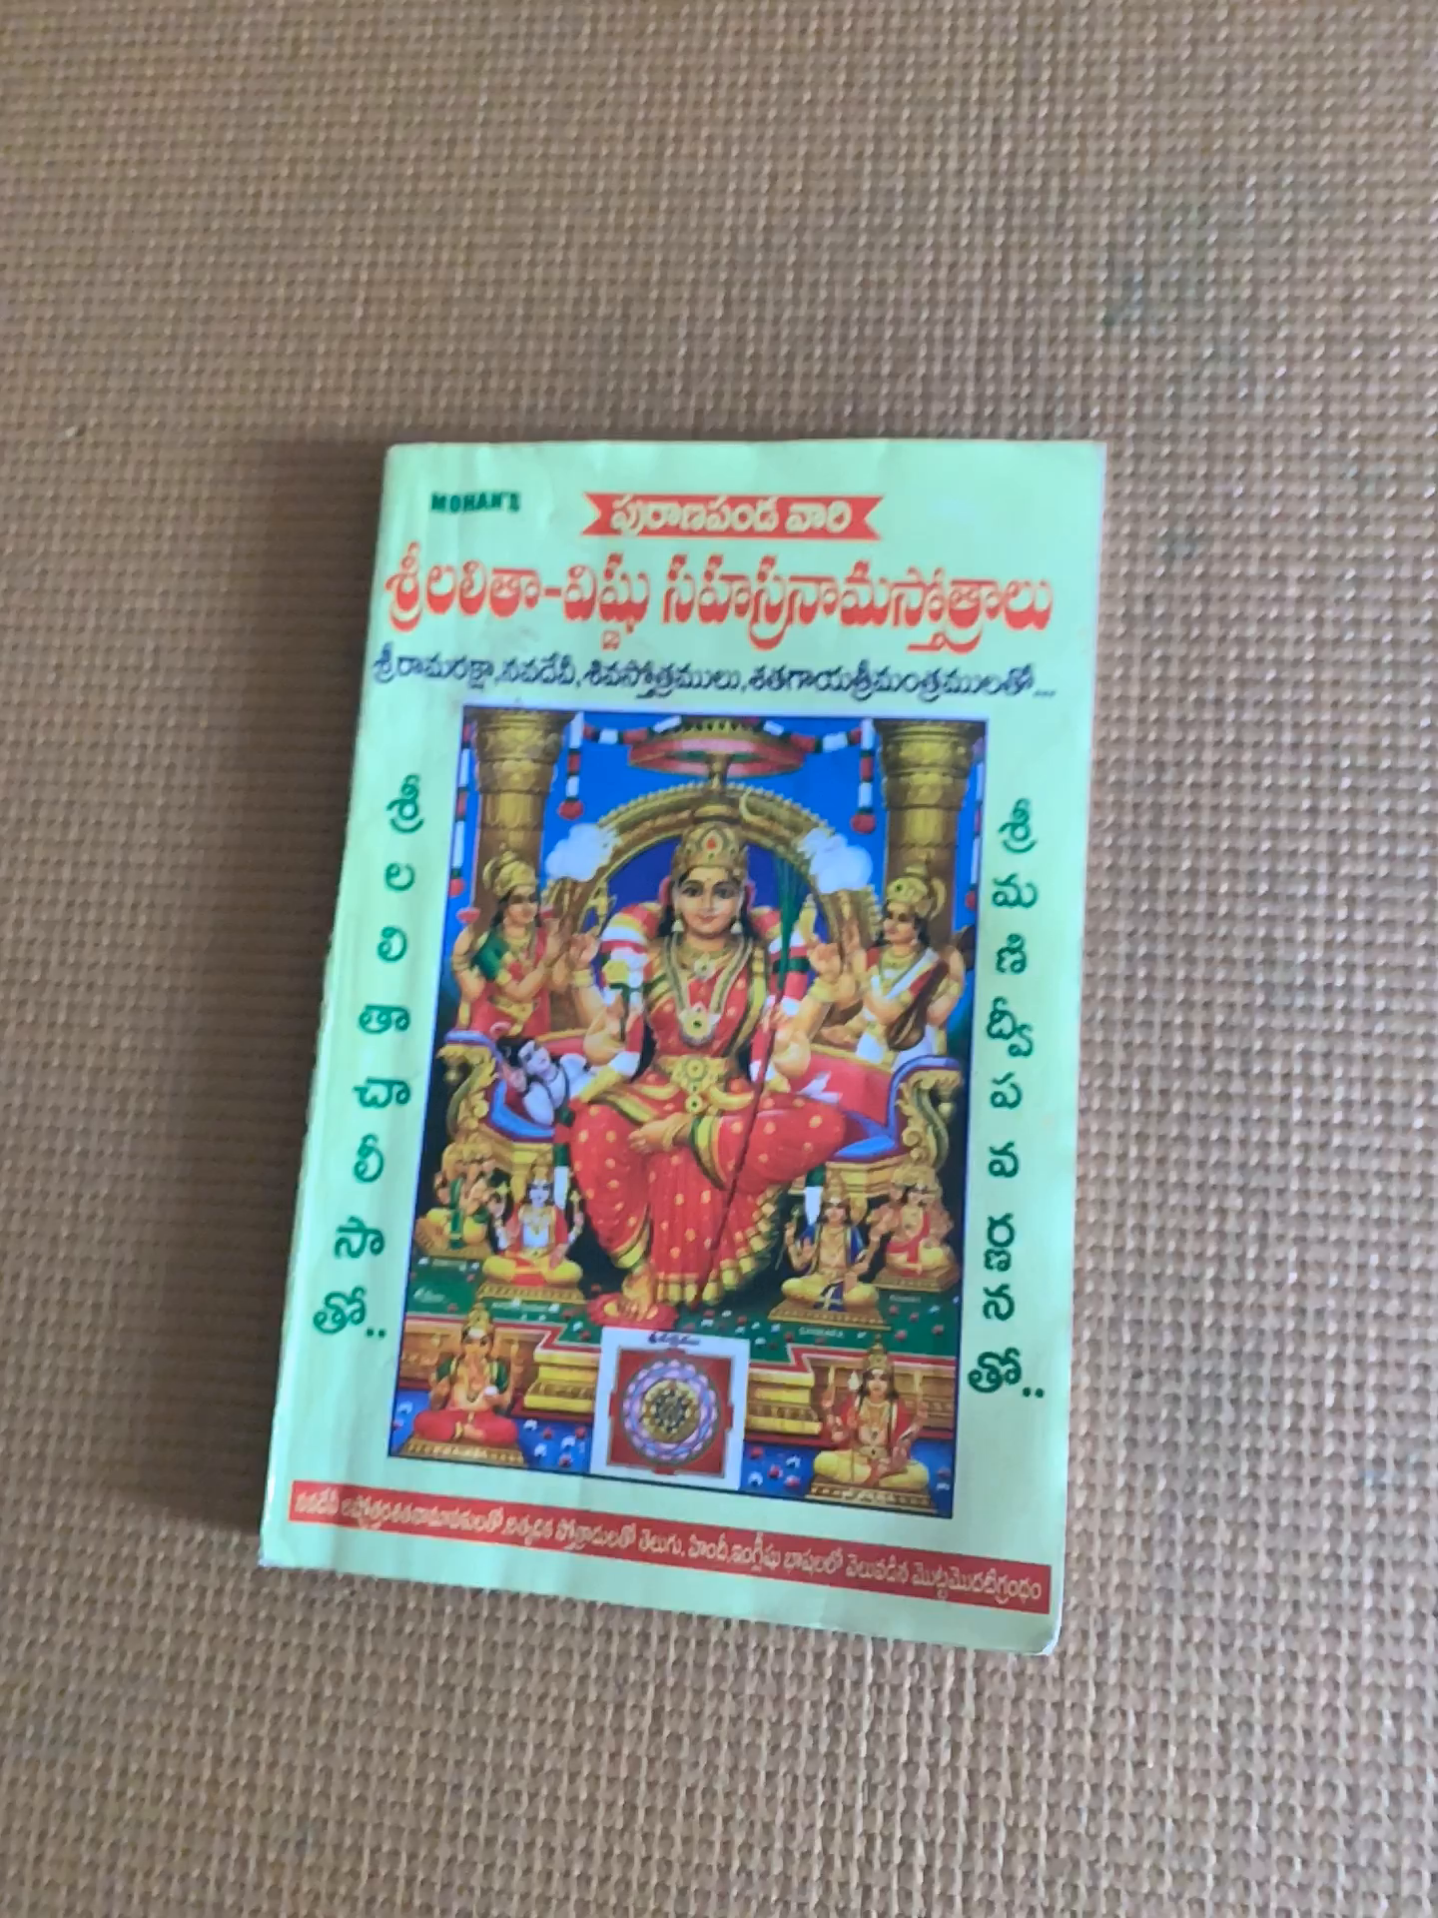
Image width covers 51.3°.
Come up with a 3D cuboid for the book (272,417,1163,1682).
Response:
[{"bbox_3d":[0.003,0.007,0.267,0.140,0.020,0.210,3,81,7],"label":"book"}]
